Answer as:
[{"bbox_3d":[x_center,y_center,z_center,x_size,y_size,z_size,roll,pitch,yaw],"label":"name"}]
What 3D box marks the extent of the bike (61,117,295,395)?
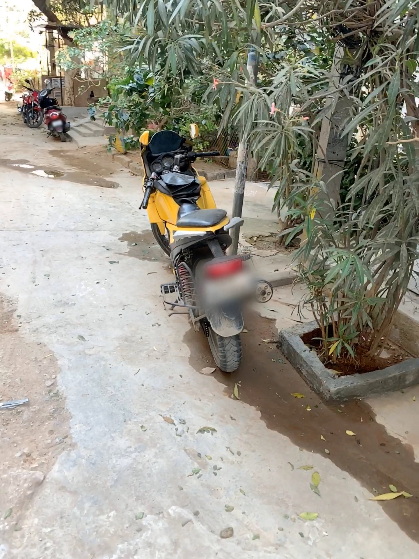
[{"bbox_3d":[-0.389,-0.313,2.661,0.853,0.954,1.755,-4,30,-20],"label":"bike"}]
